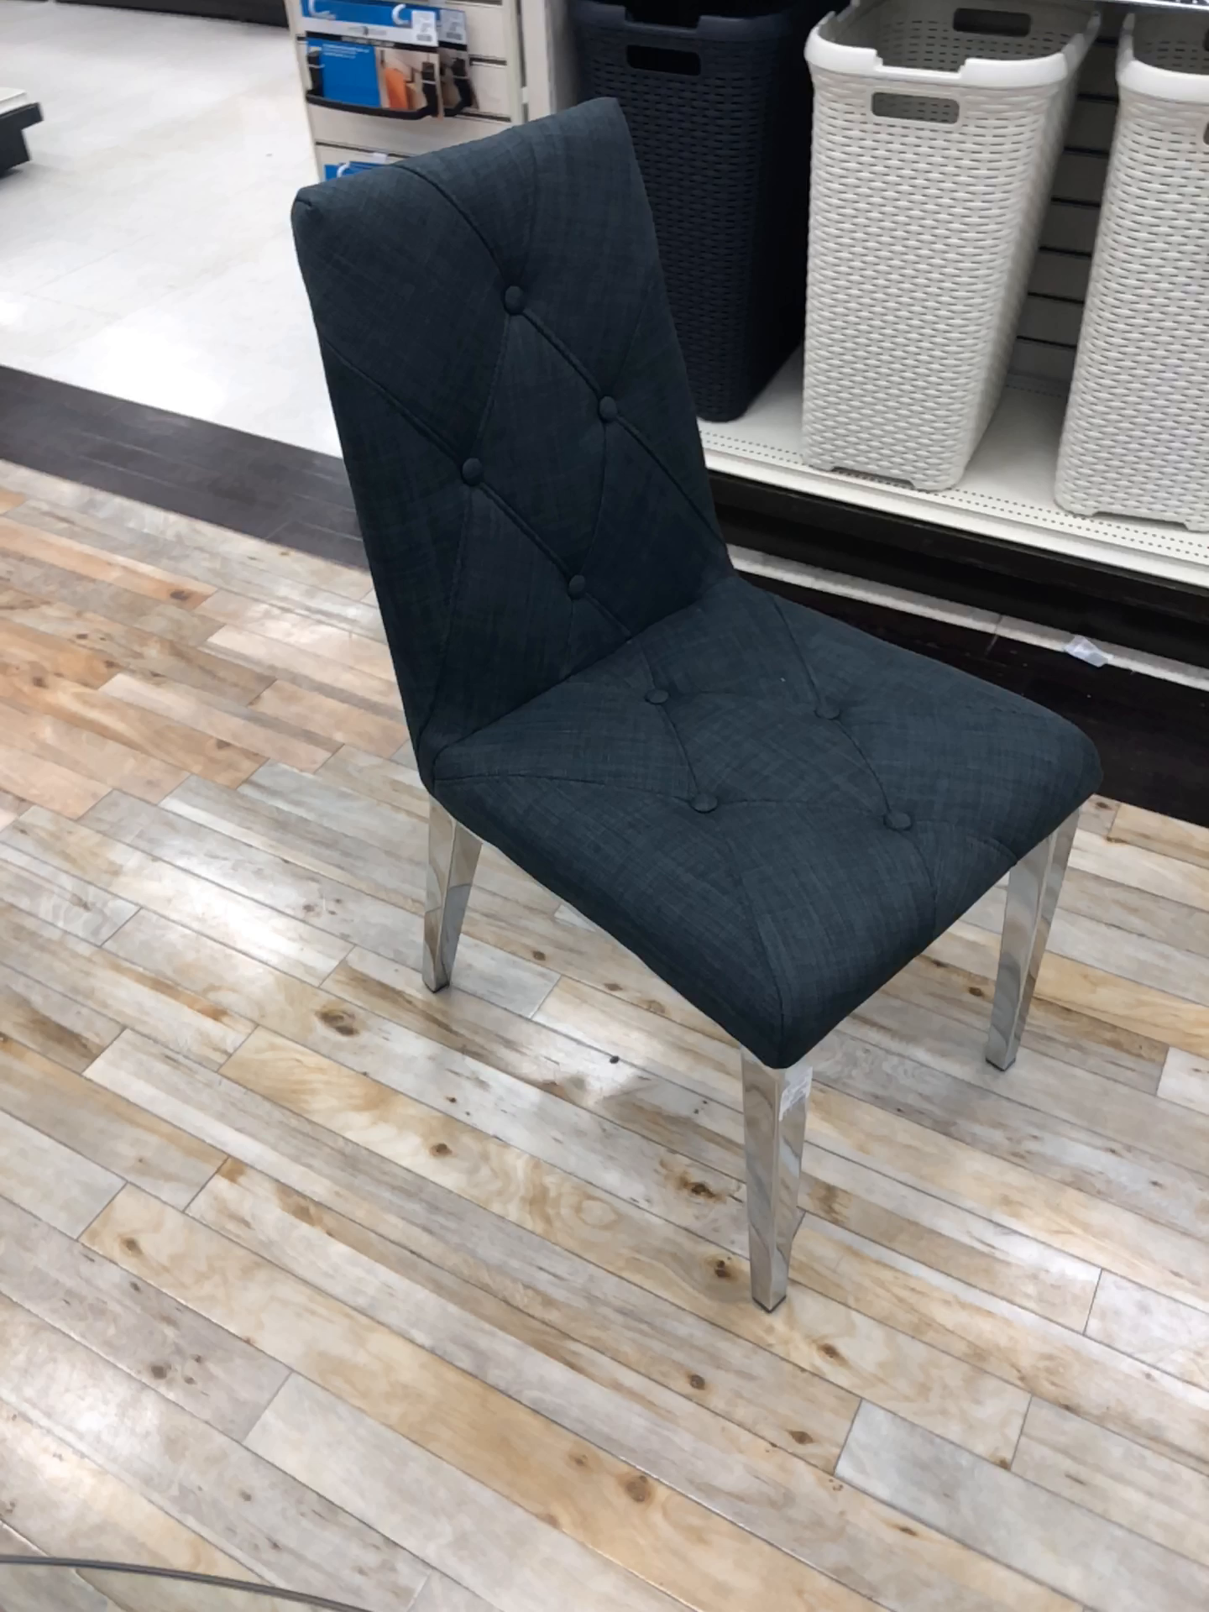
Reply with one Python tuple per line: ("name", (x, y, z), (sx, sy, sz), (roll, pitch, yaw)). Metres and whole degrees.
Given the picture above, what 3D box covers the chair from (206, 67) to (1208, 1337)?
("chair", (0.093, -0.084, 1.192), (0.451, 0.867, 0.581), (-34, 51, -31))
